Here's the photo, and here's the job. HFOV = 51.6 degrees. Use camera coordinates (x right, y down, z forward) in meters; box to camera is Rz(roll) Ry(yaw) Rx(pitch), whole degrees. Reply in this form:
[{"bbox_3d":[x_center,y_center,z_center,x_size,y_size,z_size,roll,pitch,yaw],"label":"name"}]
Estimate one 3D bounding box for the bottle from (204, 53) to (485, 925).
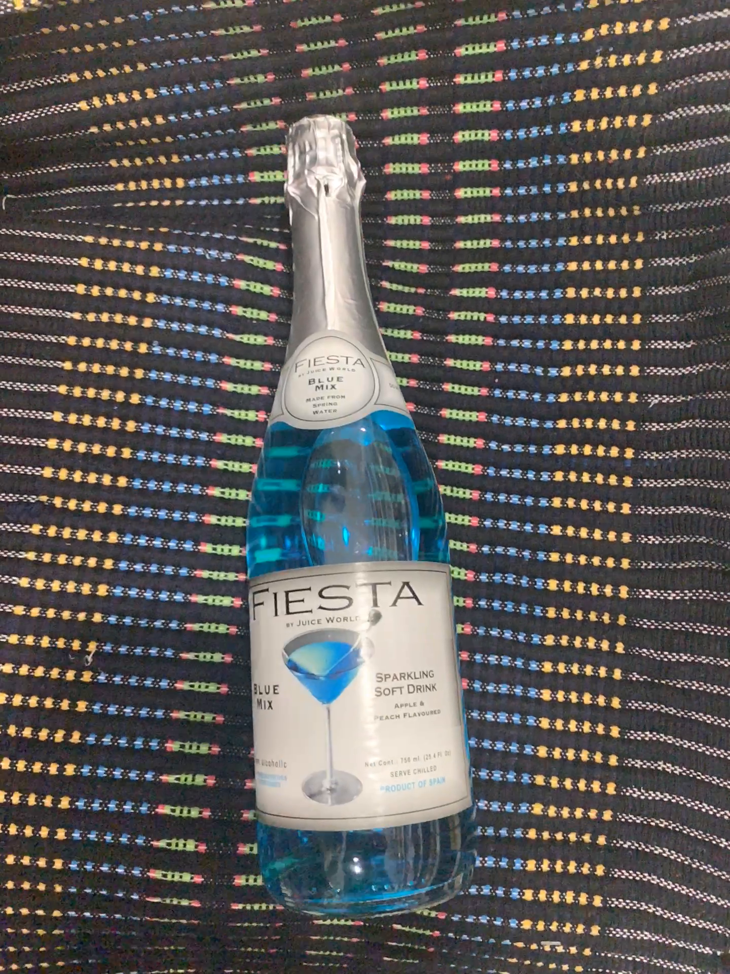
[{"bbox_3d":[-0.008,-0.006,0.316,0.080,0.100,0.310,-6,76,9],"label":"bottle"}]
